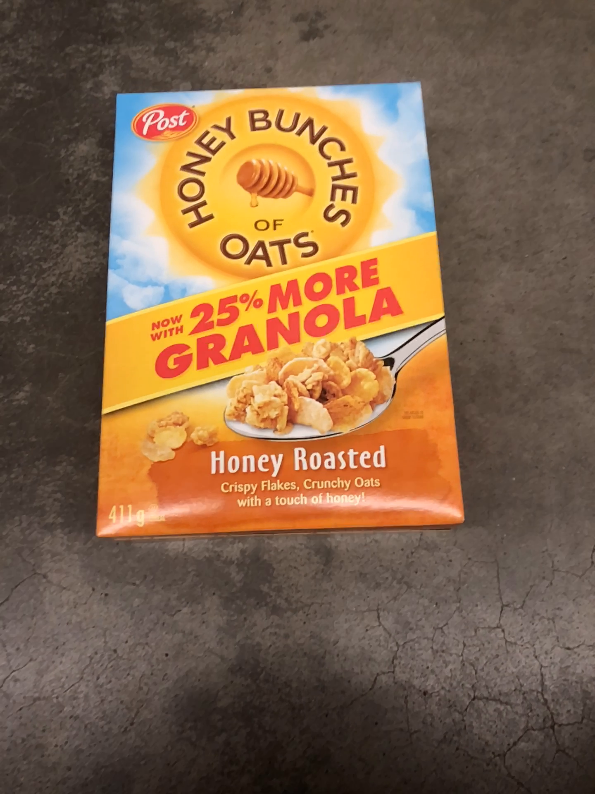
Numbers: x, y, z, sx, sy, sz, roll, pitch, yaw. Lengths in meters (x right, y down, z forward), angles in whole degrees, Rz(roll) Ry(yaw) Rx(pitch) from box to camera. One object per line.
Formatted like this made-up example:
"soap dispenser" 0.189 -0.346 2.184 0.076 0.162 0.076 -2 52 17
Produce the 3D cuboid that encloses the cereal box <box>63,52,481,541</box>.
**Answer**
"cereal box" -0.017 -0.062 0.389 0.210 0.060 0.280 -1 77 -4
